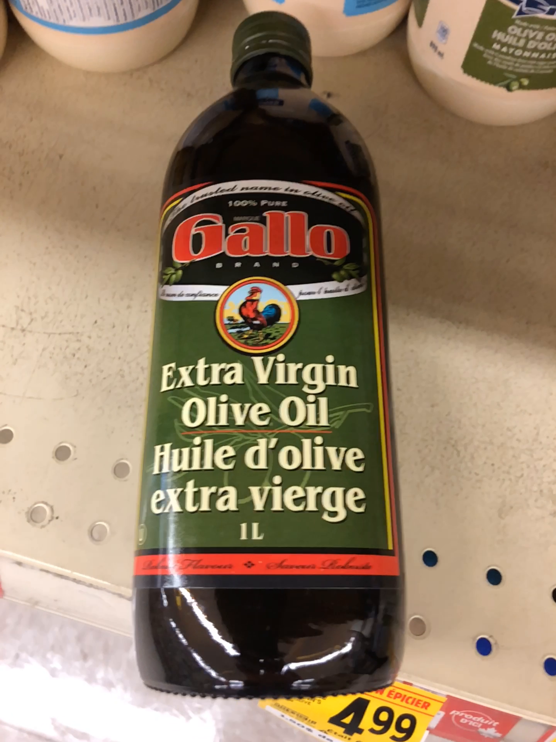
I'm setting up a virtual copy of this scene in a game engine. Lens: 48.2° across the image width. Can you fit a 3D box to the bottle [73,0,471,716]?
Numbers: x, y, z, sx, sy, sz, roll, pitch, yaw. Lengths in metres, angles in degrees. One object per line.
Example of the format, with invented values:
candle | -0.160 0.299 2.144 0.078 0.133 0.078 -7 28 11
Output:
bottle | -0.002 -0.034 0.230 0.090 0.090 0.271 0 69 -1
